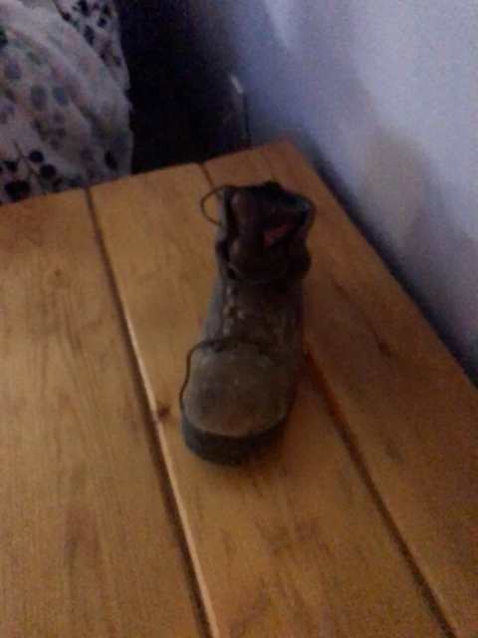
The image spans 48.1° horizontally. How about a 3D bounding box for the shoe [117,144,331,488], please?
[{"bbox_3d":[0.007,-0.019,0.491,0.130,0.130,0.291,5,50,7],"label":"shoe"}]
